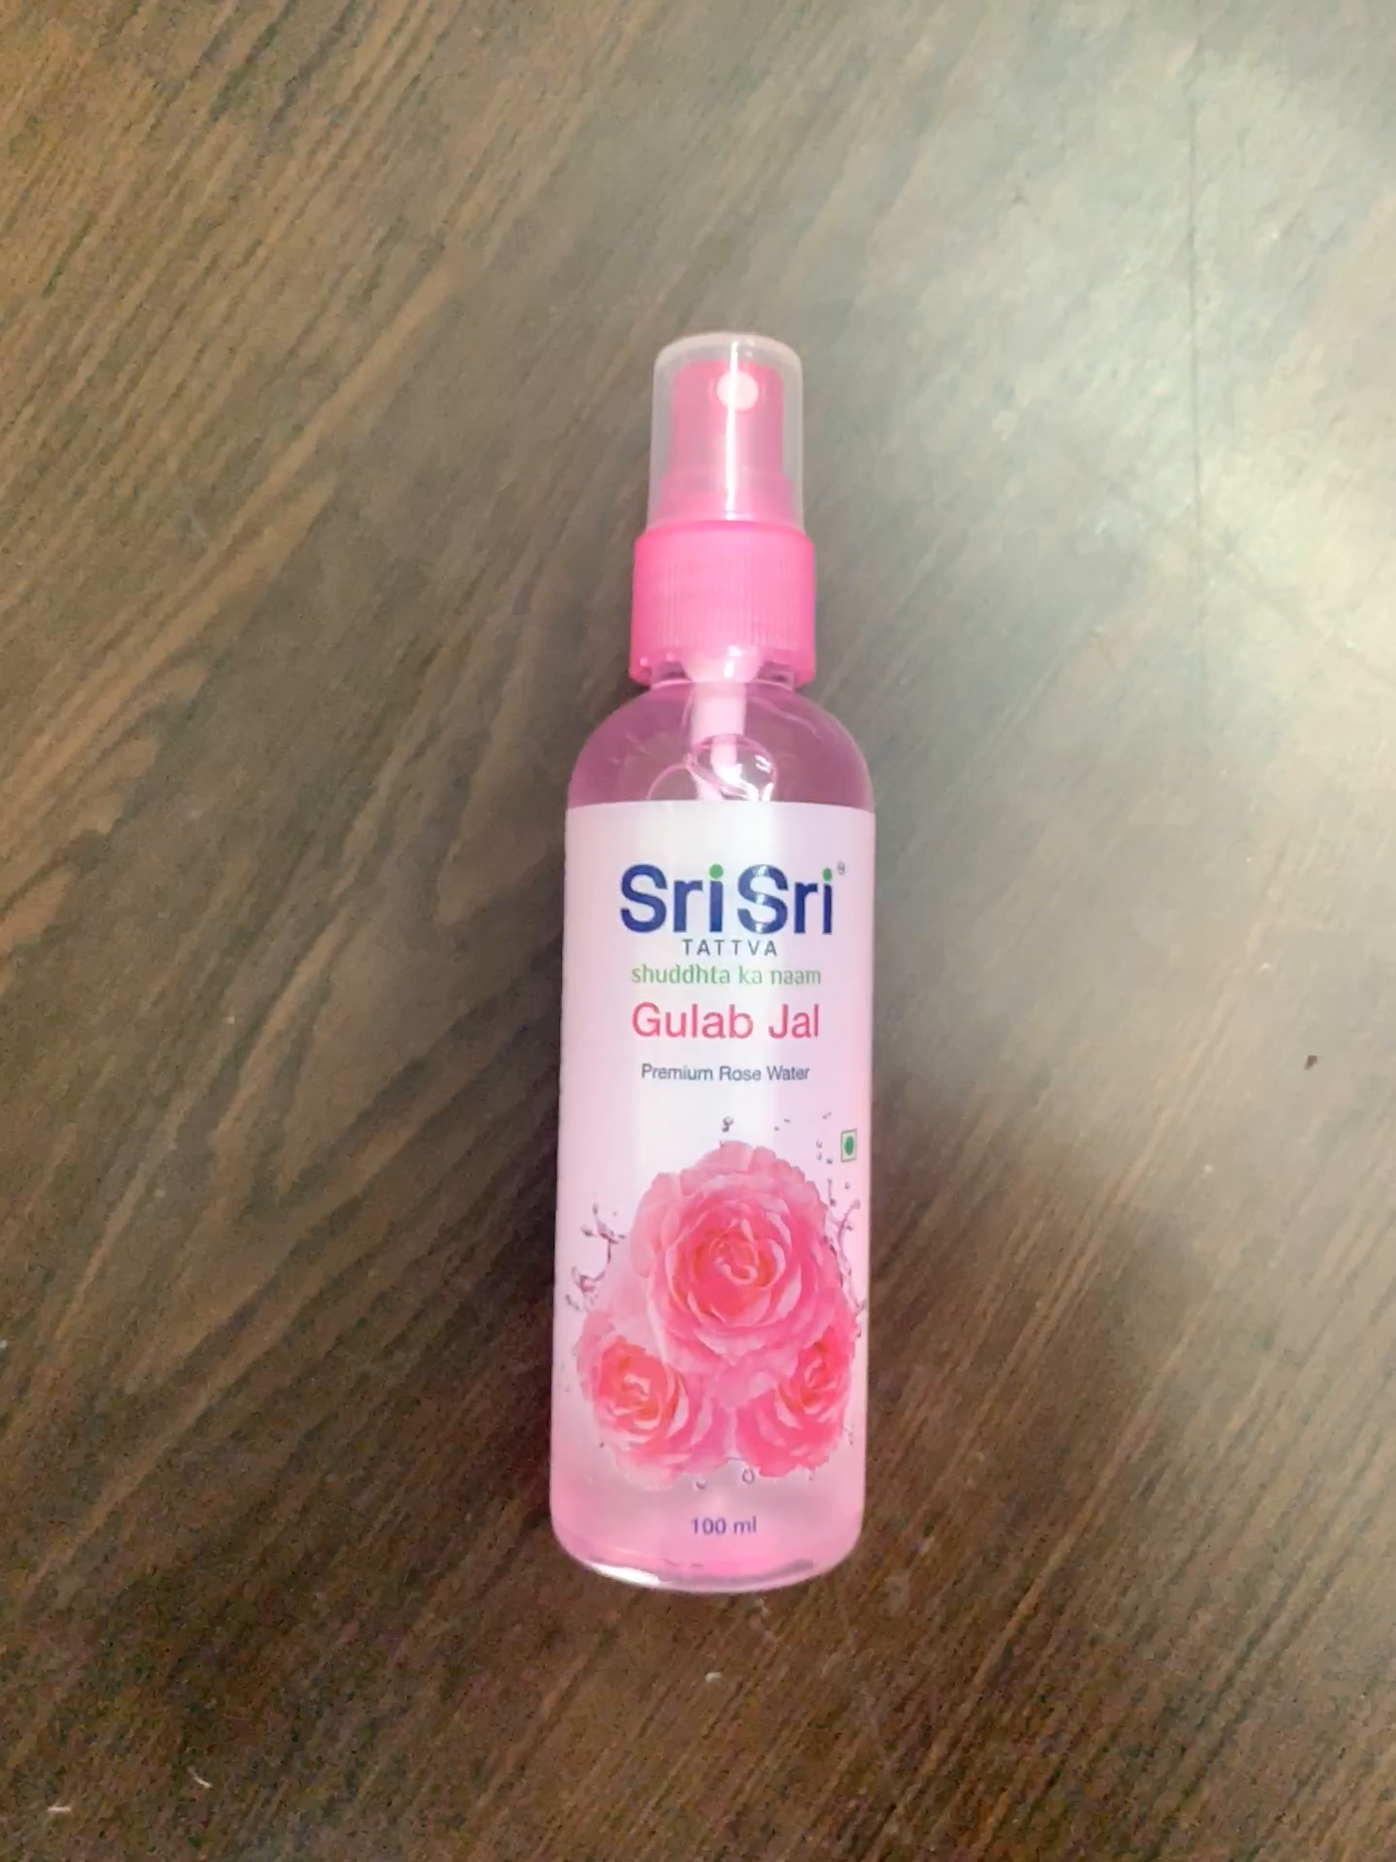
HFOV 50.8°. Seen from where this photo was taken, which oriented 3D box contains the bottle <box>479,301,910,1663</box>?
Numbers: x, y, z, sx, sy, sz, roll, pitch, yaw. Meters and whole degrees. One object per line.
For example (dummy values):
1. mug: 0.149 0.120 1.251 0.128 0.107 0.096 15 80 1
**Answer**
1. bottle: 0.001 0.005 0.173 0.040 0.040 0.140 2 90 5
